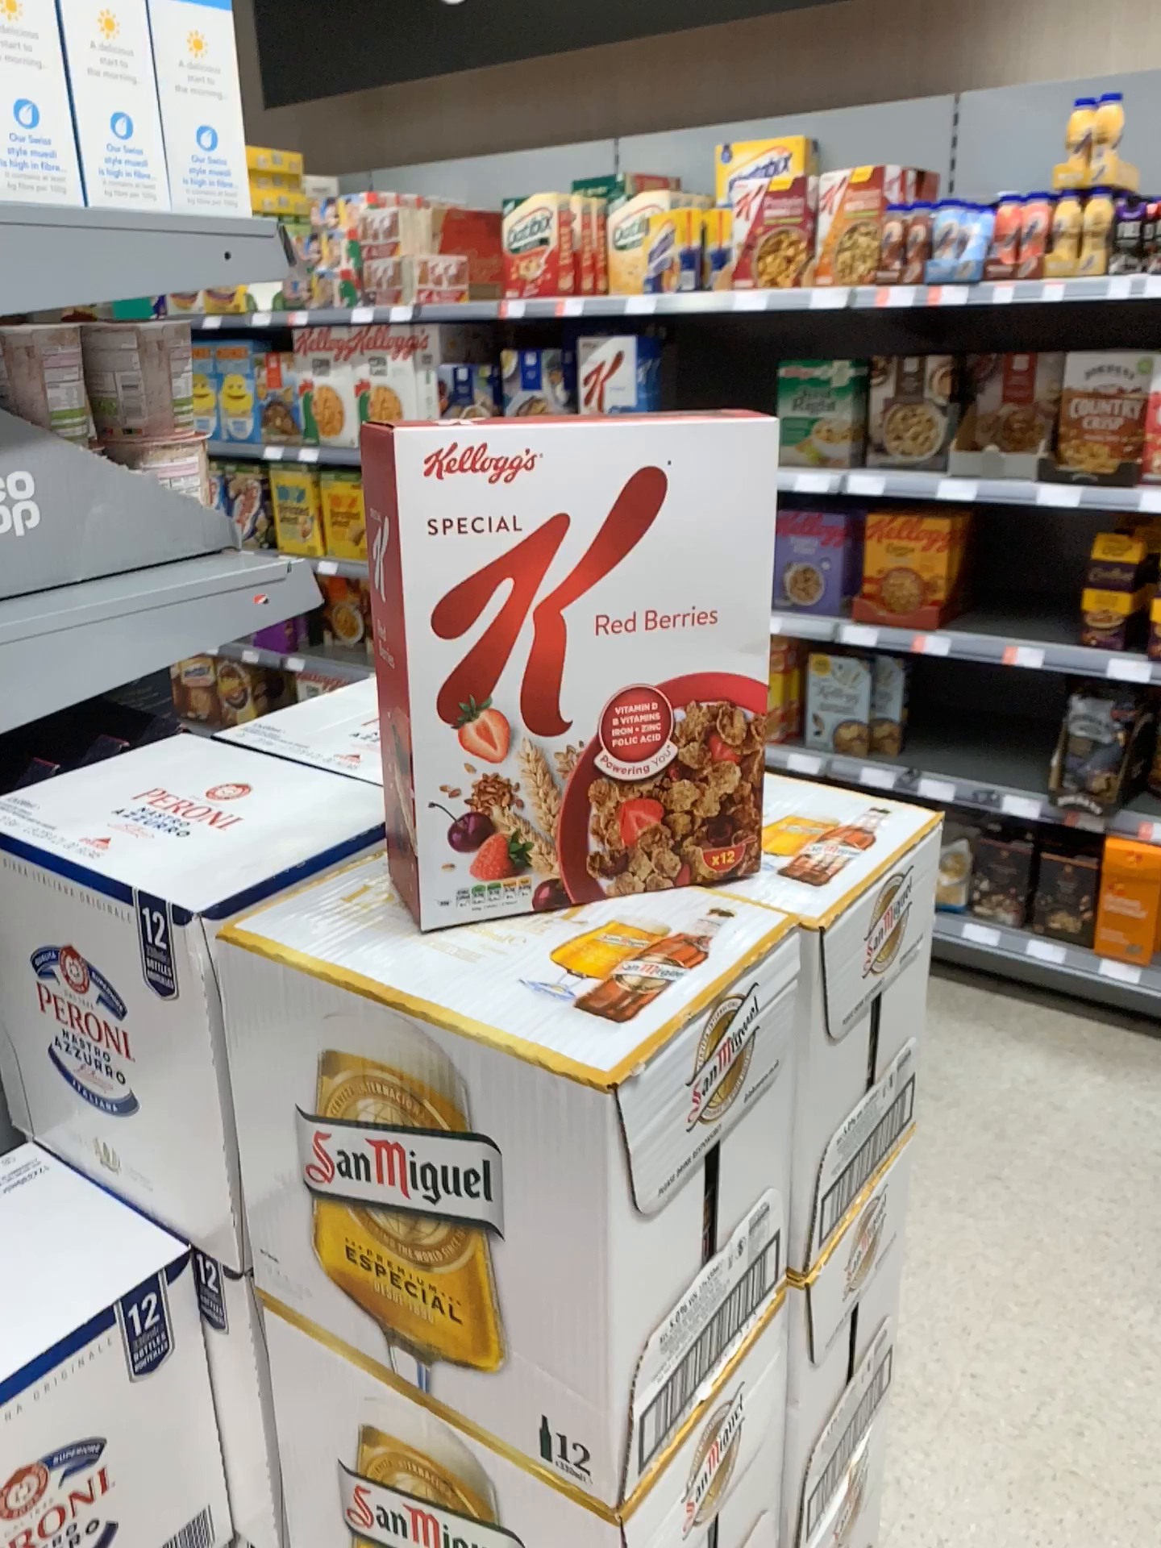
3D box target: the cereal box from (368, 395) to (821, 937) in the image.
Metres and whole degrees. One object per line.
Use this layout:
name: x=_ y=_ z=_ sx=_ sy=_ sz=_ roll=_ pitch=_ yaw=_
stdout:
cereal box: x=0.010 y=-0.059 z=0.593 sx=0.200 sy=0.238 sz=0.070 roll=-8 pitch=19 yaw=-17
